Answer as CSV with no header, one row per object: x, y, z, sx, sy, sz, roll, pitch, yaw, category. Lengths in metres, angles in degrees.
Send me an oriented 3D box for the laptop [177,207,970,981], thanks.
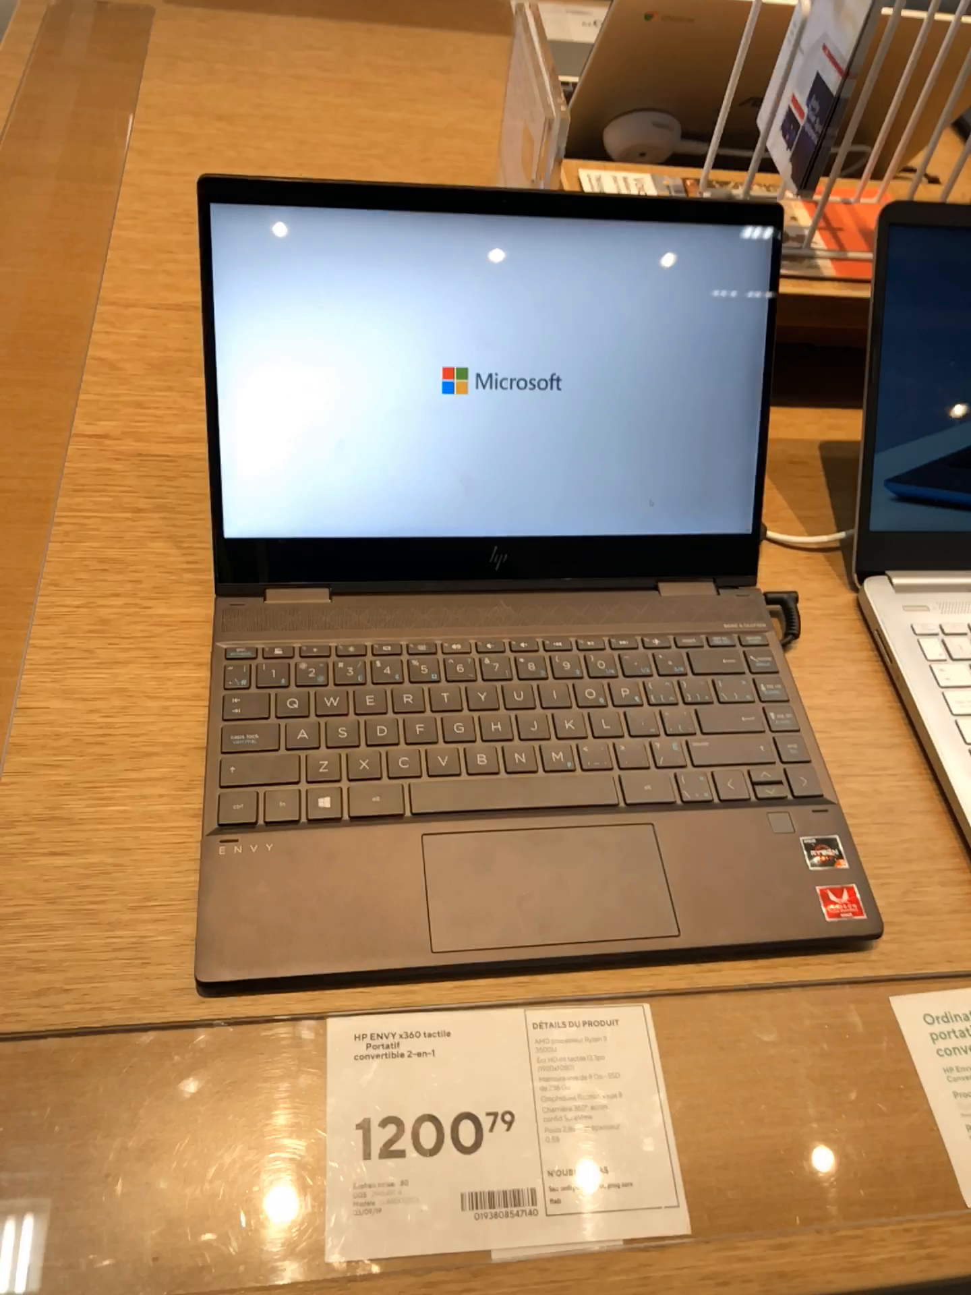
0.026,-0.043,0.501,0.293,0.162,0.319,-1,51,-9,laptop
